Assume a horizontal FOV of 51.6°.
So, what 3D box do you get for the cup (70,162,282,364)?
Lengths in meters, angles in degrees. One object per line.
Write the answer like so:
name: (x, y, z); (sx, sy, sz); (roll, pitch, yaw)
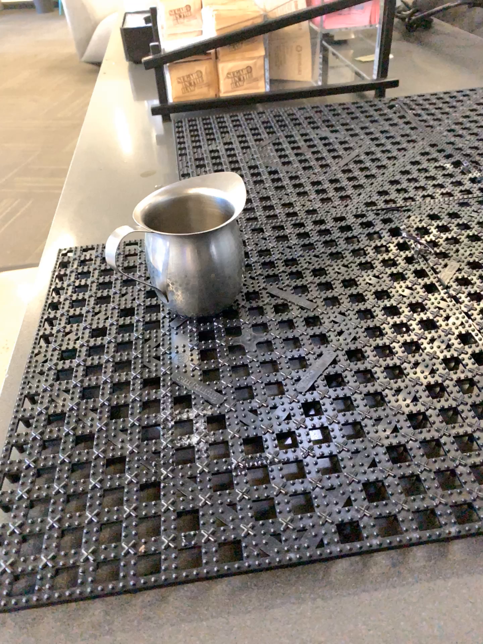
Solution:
cup: (-0.036, -0.044, 0.325); (0.070, 0.070, 0.110); (29, 51, 33)
